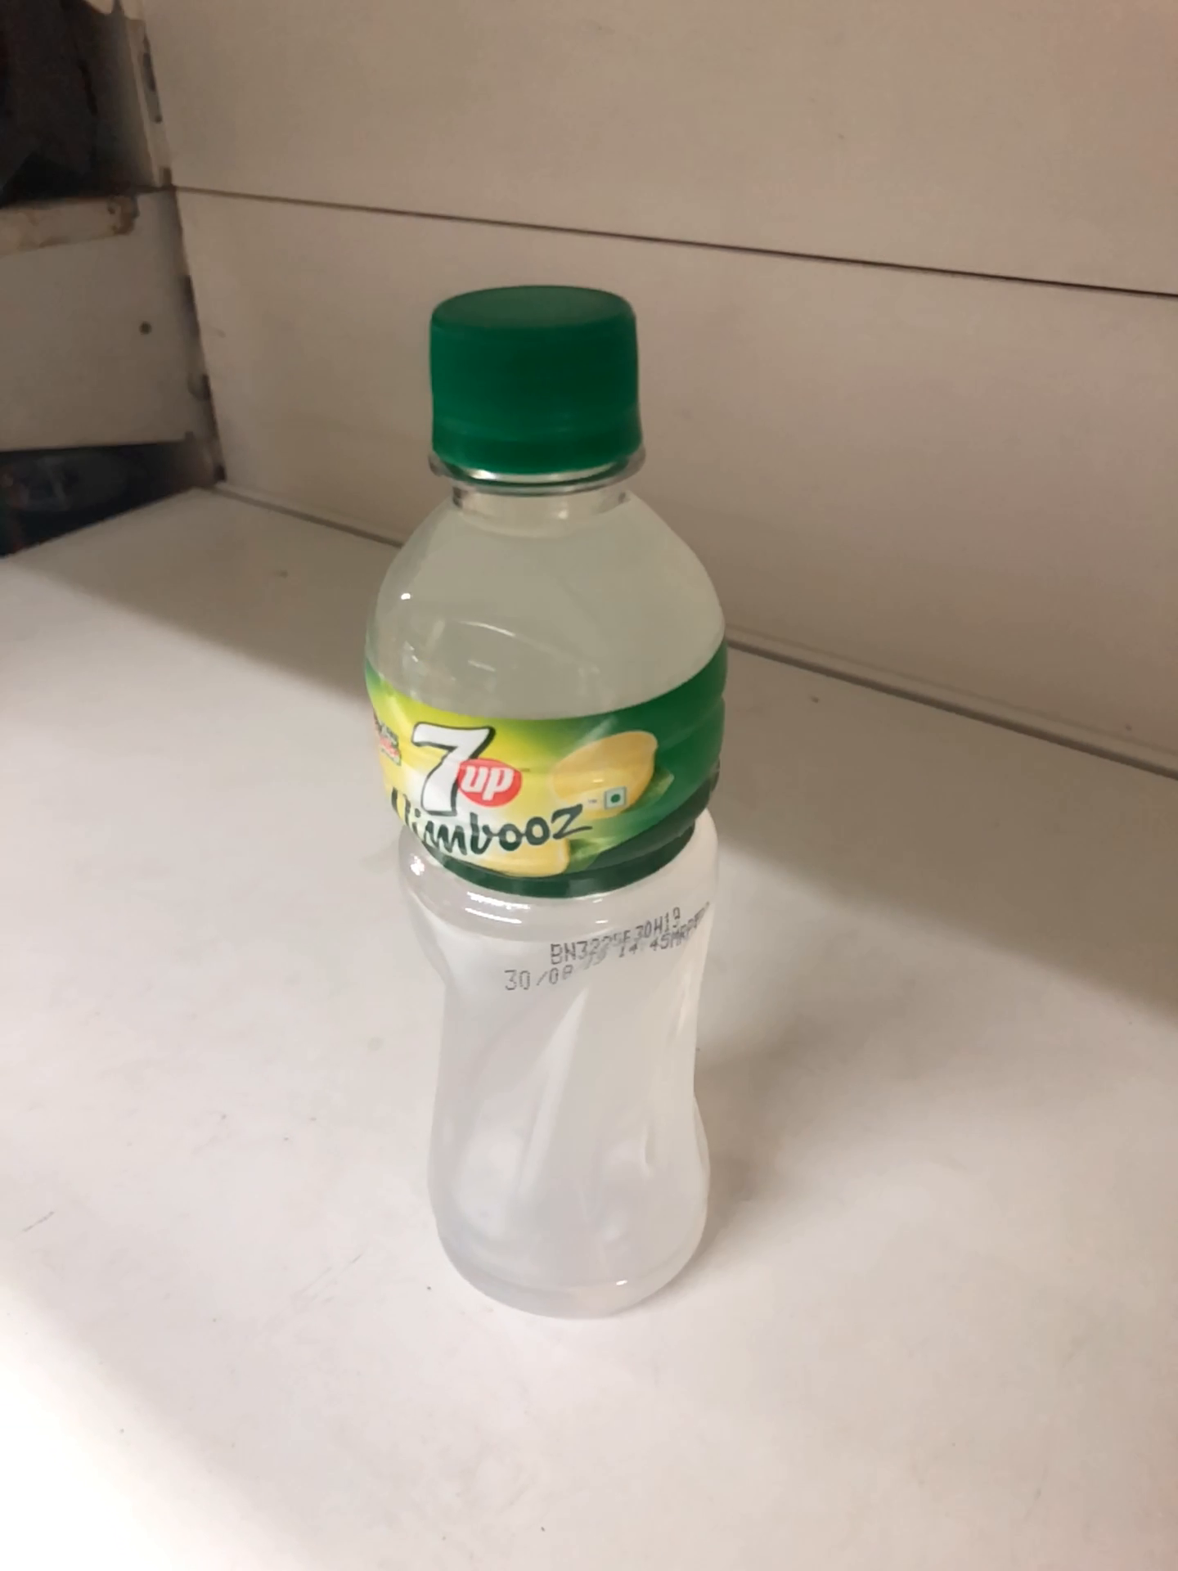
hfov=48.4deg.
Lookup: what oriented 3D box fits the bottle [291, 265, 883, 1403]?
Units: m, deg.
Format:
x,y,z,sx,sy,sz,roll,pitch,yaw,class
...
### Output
x,y,z,sx,sy,sz,roll,pitch,yaw,class
0.002,0.014,0.247,0.070,0.199,0.060,14,33,23,bottle
